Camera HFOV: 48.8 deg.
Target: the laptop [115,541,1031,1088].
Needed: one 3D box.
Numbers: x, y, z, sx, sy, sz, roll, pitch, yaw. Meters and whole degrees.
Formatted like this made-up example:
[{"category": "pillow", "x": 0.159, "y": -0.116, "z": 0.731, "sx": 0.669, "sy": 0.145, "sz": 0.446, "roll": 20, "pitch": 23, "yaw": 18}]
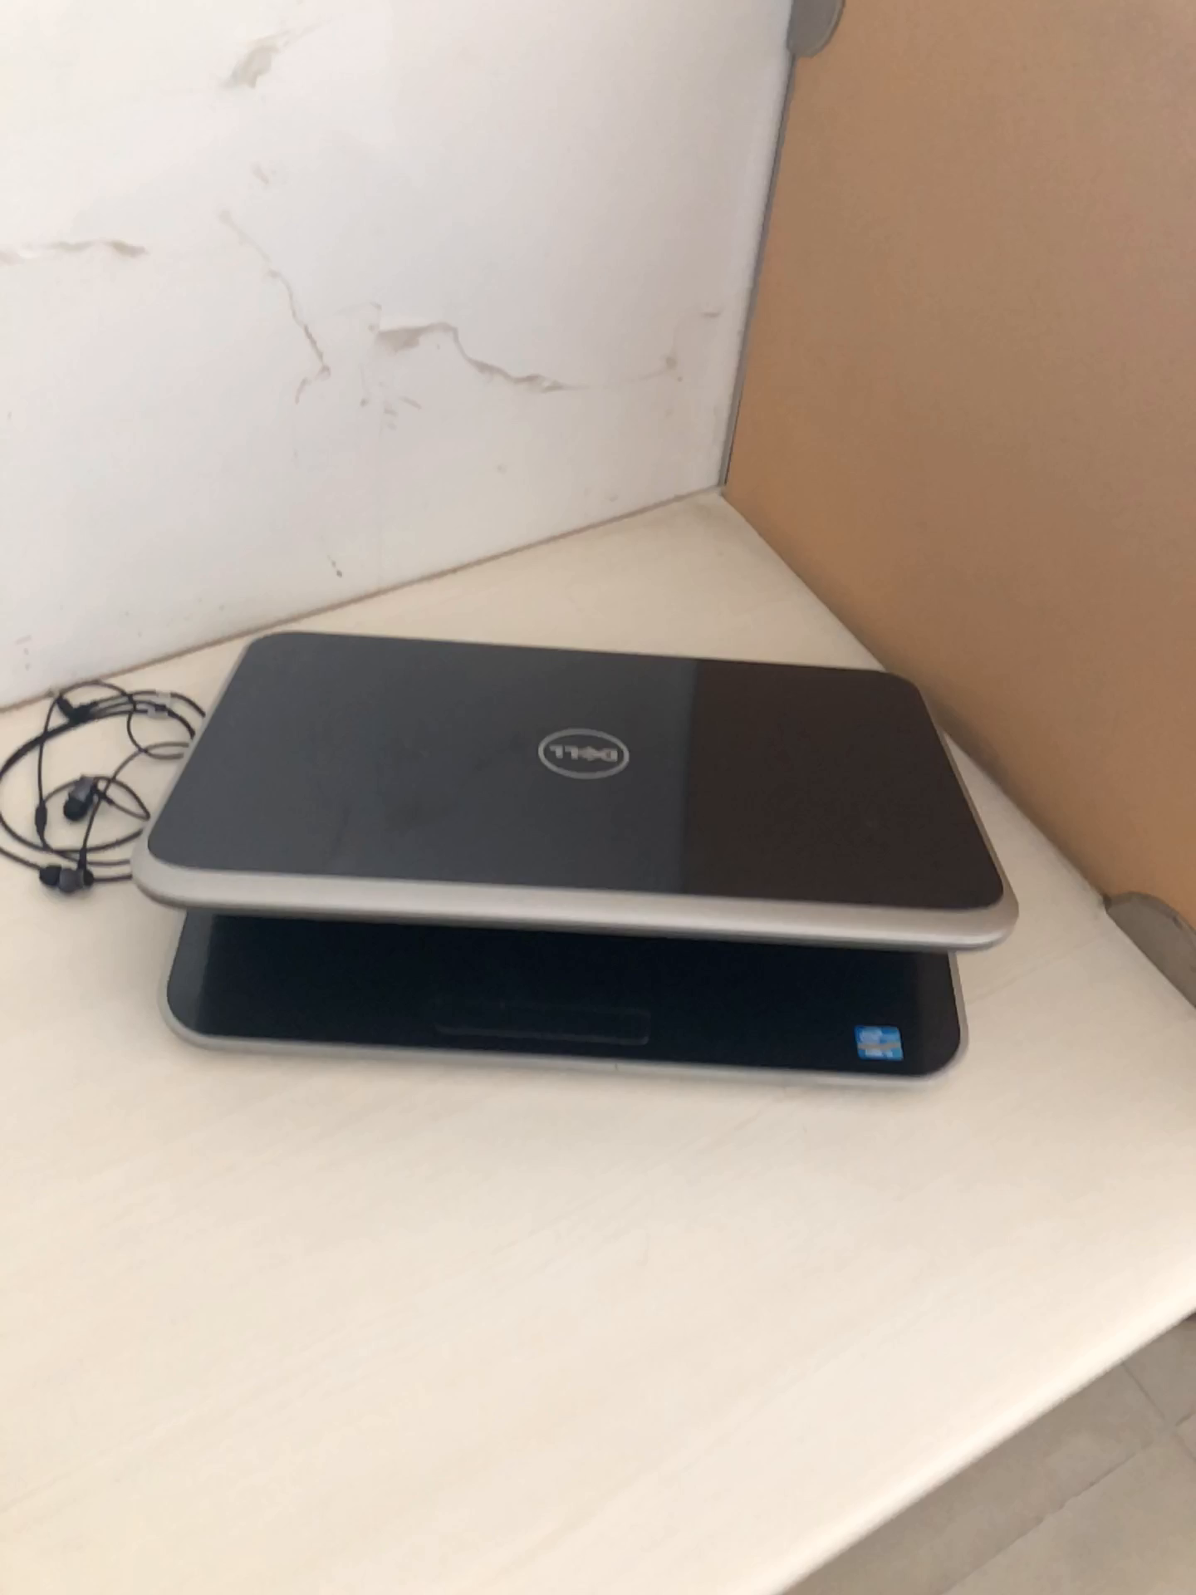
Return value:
[{"category": "laptop", "x": -0.006, "y": 0.000, "z": 0.628, "sx": 0.357, "sy": 0.094, "sz": 0.239, "roll": 4, "pitch": 48, "yaw": -1}]
